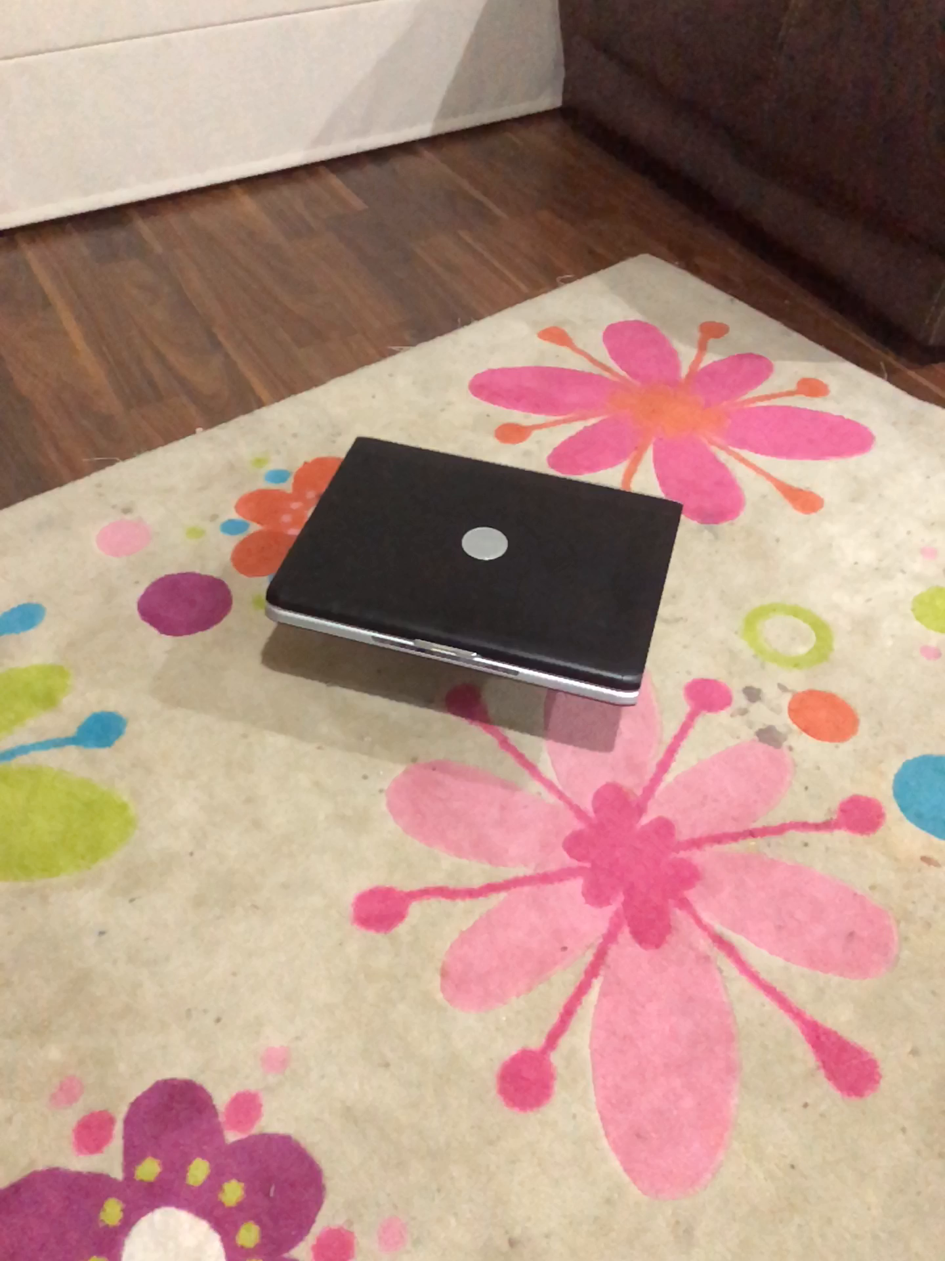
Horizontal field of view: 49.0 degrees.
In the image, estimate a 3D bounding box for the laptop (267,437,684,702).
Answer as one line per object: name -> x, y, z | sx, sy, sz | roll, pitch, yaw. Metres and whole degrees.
laptop -> 0.008, -0.072, 1.006 | 0.353, 0.015, 0.233 | 13, 53, 13
